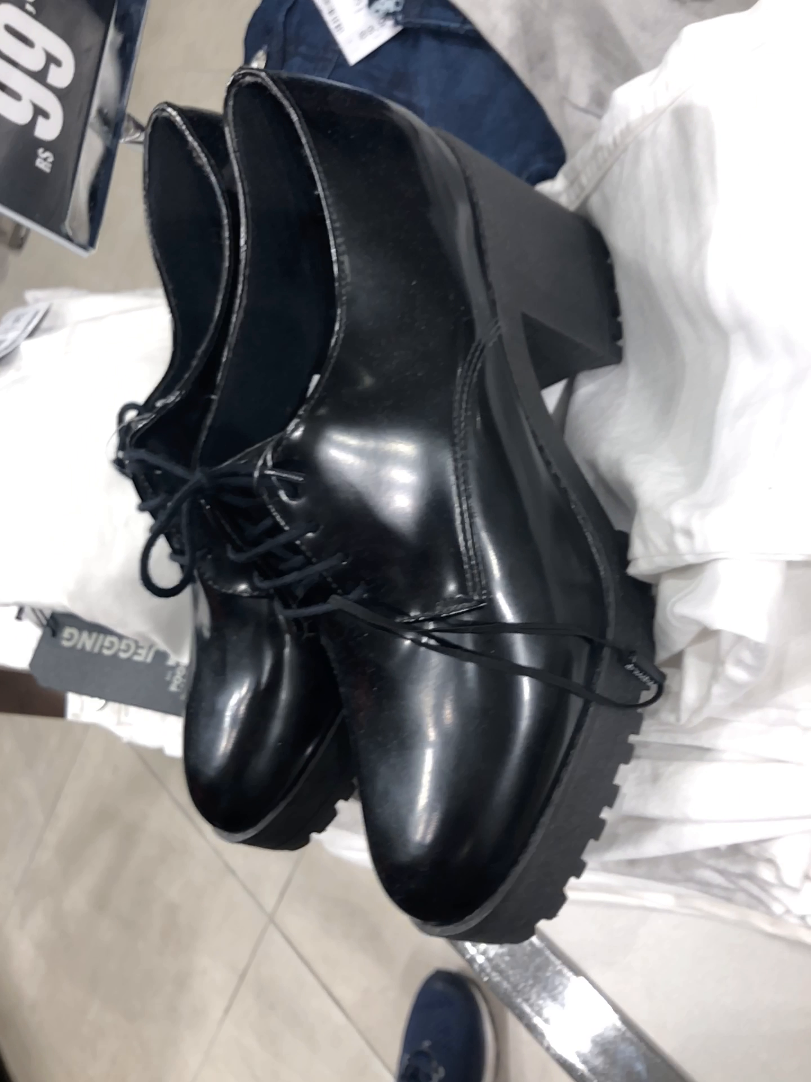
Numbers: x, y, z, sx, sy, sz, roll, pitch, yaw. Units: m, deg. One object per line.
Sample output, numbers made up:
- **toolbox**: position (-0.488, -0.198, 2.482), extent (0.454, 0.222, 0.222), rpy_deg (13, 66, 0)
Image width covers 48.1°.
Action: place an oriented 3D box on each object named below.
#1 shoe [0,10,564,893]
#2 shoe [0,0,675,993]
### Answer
- **shoe**: position (-0.050, -0.019, 0.347), extent (0.100, 0.159, 0.260), rpy_deg (-1, 71, 47)
- **shoe**: position (-0.003, -0.011, 0.288), extent (0.100, 0.149, 0.260), rpy_deg (-12, 64, 45)
